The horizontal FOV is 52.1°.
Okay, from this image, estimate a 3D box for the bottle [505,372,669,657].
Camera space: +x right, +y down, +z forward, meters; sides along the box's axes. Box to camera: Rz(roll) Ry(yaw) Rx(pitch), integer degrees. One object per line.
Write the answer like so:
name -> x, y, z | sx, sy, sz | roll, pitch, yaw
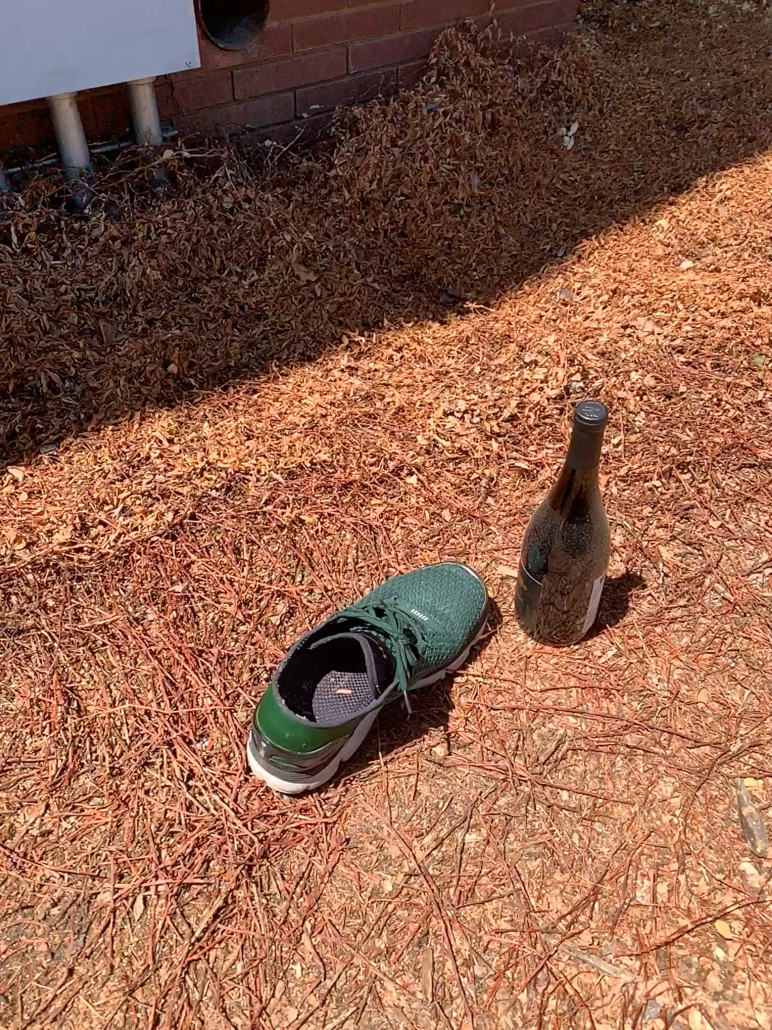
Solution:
bottle -> 0.179, 0.009, 0.752 | 0.090, 0.269, 0.100 | 7, 45, 4
